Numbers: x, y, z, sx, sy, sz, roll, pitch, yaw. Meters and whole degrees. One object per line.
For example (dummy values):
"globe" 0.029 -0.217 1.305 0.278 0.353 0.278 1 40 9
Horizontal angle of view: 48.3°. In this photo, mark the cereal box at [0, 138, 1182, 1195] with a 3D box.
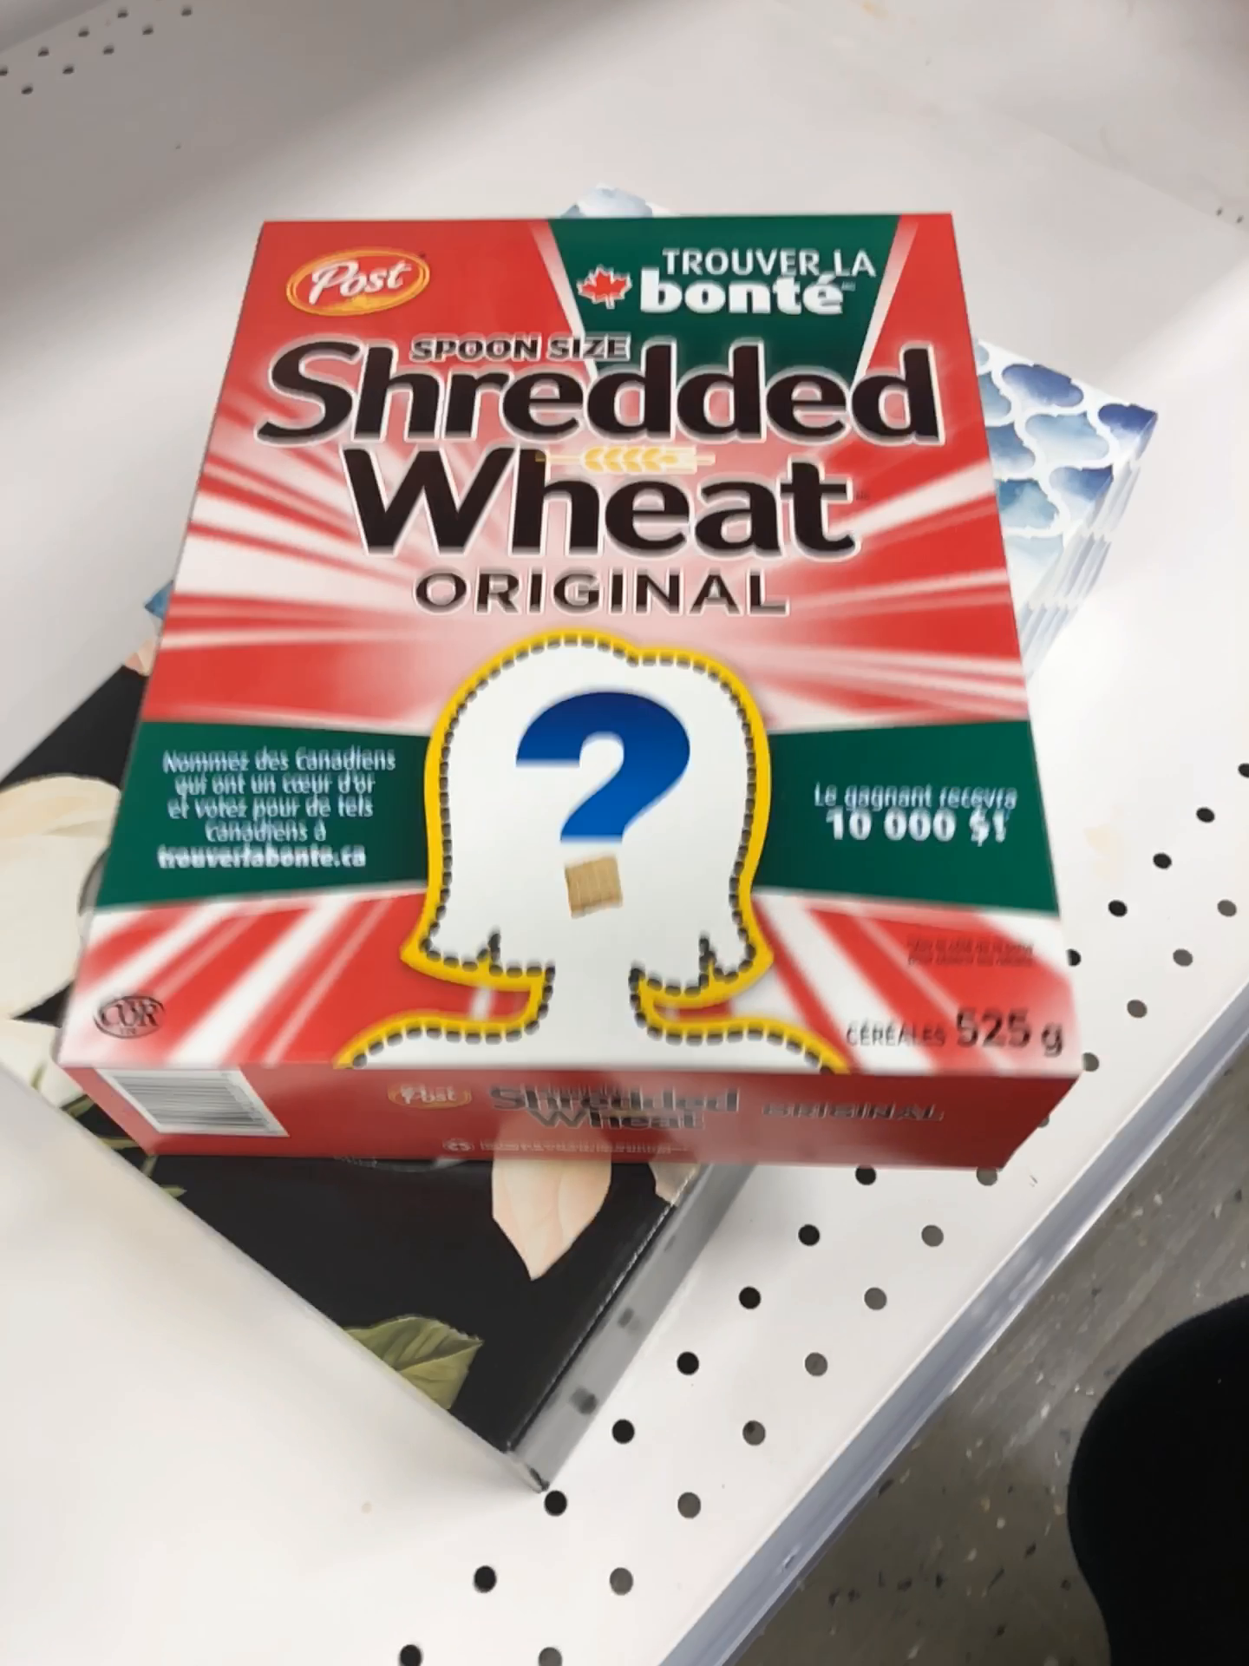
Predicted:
"cereal box" -0.010 -0.060 0.349 0.230 0.060 0.281 0 59 4
